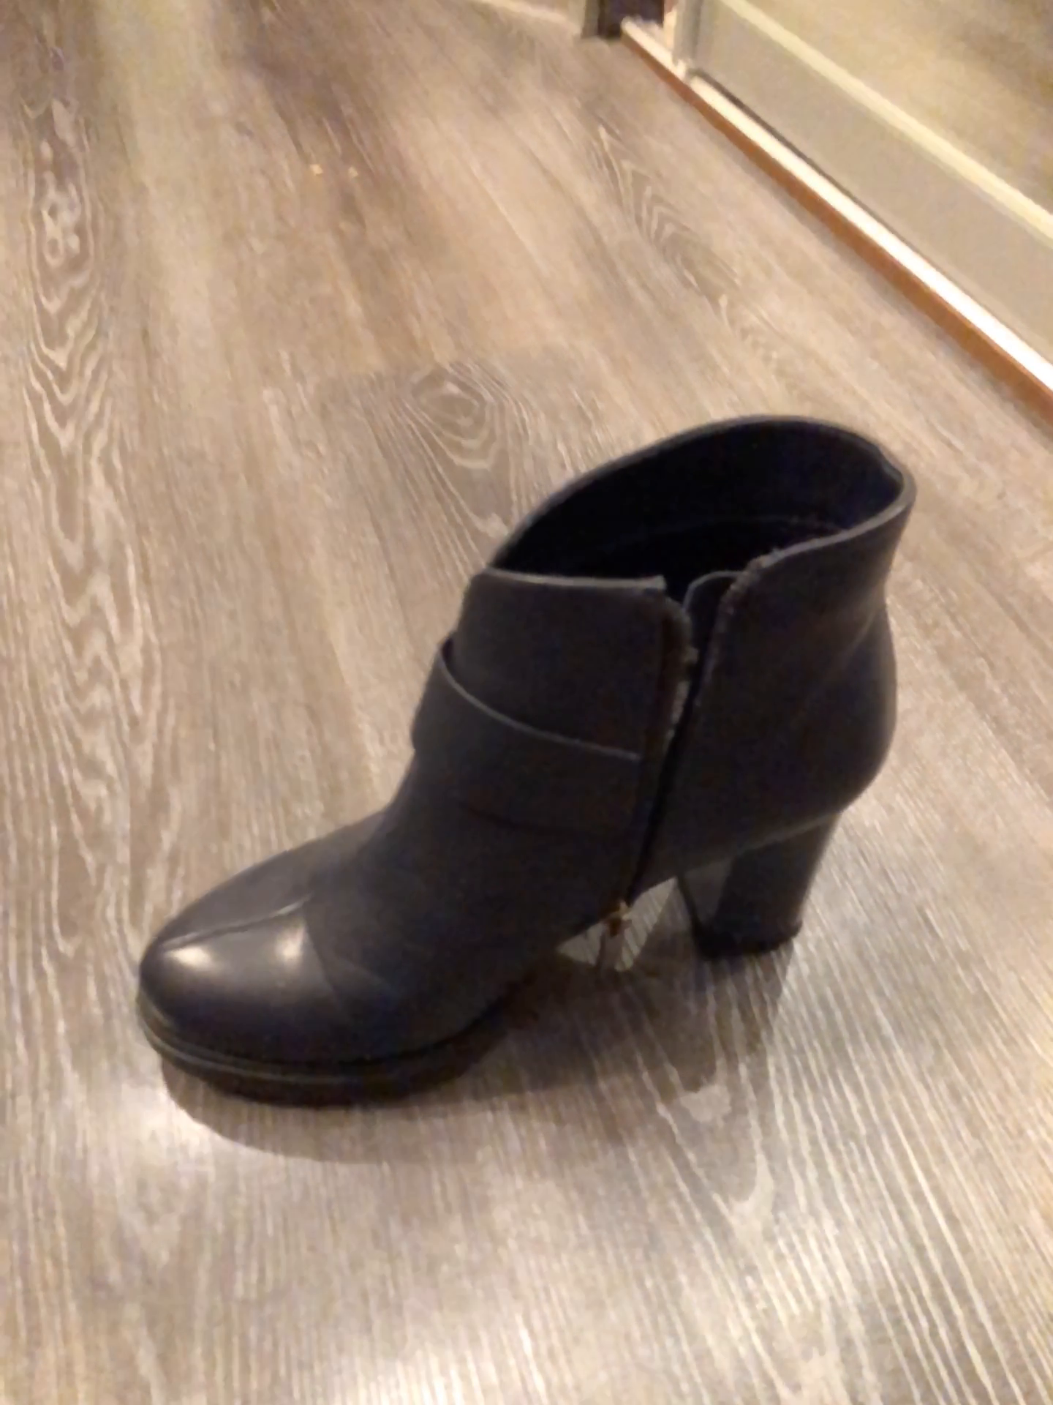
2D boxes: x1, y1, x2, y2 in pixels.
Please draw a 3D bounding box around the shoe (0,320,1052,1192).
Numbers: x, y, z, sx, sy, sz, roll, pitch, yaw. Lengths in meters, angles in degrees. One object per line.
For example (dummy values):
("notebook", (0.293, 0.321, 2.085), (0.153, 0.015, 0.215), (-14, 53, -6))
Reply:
("shoe", (-0.011, 0.019, 0.324), (0.240, 0.189, 0.091), (-13, 47, -13))
